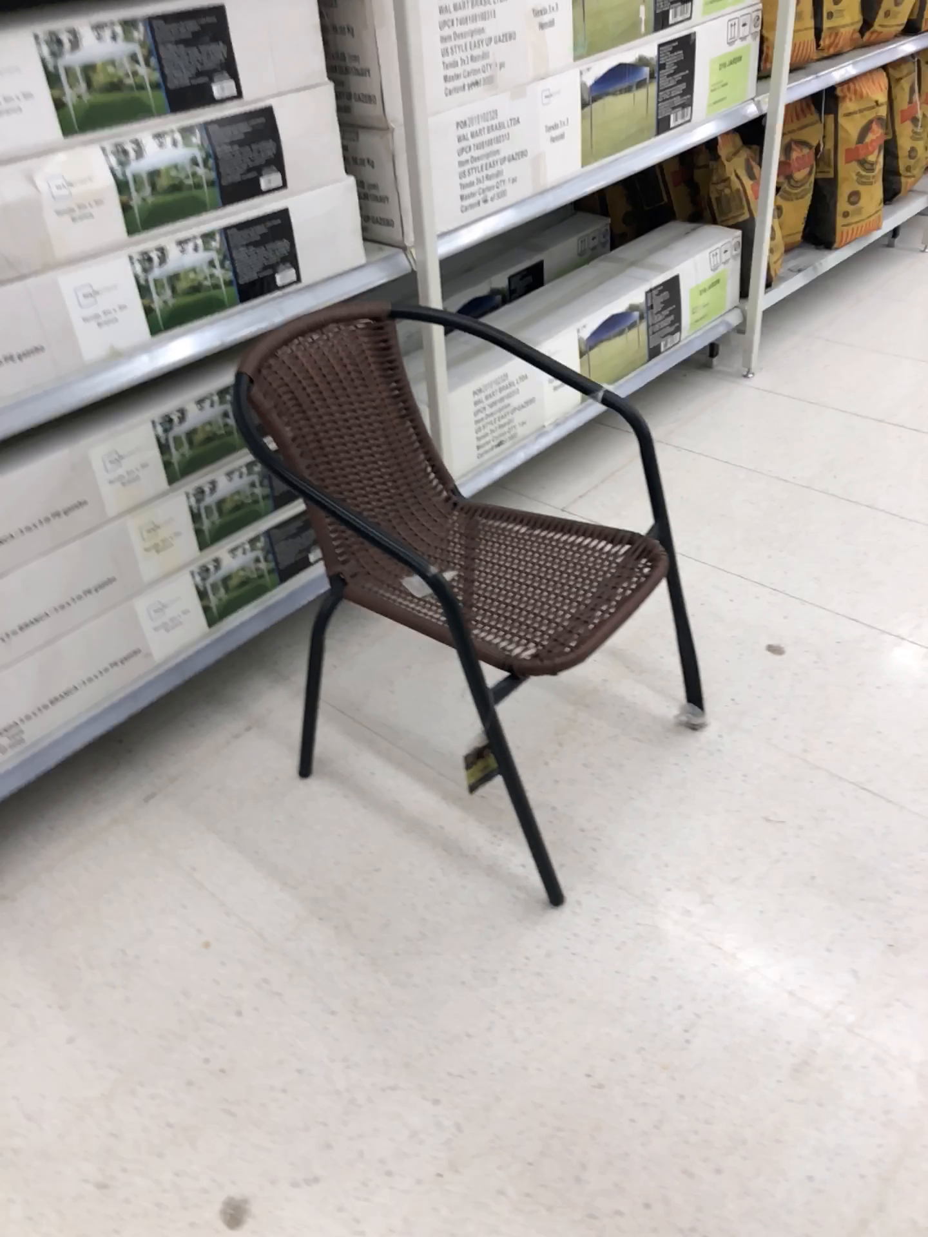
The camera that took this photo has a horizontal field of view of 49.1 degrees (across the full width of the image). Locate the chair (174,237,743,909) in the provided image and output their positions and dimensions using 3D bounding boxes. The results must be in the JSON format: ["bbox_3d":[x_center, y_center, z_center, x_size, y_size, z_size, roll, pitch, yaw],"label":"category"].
[{"bbox_3d":[0.028,-0.090,1.474,0.531,0.715,0.483,19,43,29],"label":"chair"}]
